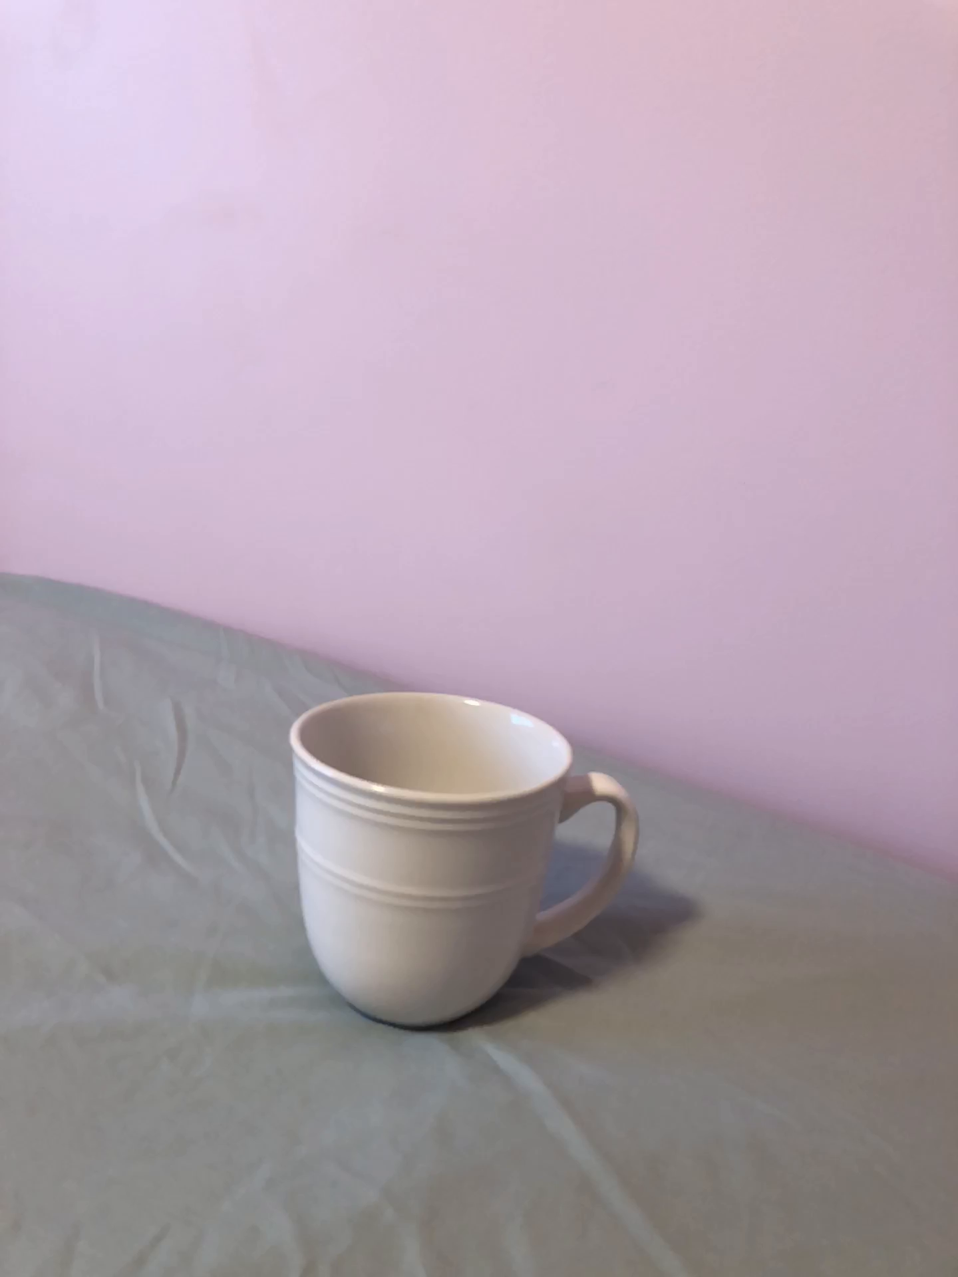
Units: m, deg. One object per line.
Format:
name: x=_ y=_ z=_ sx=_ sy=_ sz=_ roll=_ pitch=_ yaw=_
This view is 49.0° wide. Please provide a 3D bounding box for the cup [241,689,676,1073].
cup: x=-0.015 y=0.084 z=0.397 sx=0.140 sy=0.100 sz=0.100 roll=1 pitch=16 yaw=-10
